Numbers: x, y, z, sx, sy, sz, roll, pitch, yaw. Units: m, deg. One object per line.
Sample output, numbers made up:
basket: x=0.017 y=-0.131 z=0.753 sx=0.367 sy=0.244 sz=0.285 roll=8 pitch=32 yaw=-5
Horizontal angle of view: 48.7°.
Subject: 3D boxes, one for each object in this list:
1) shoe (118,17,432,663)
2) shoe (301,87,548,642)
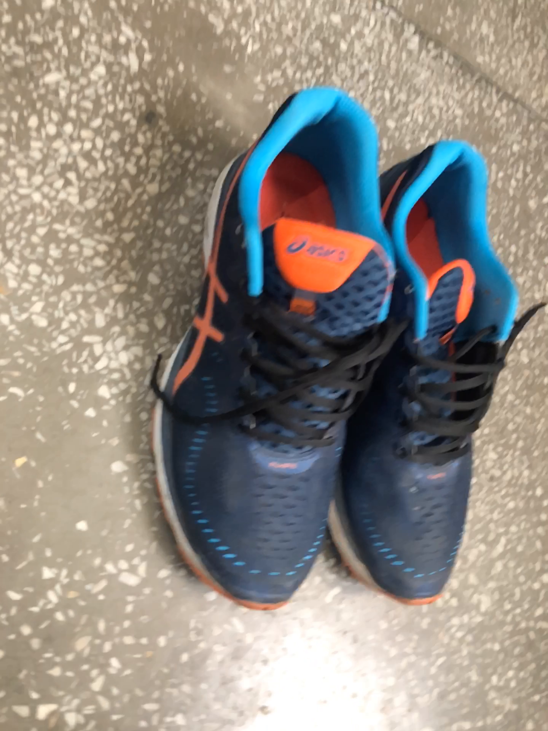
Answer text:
shoe: x=-0.002 y=-0.012 z=0.326 sx=0.118 sy=0.100 sz=0.288 roll=8 pitch=73 yaw=-25
shoe: x=0.096 y=0.001 z=0.374 sx=0.118 sy=0.100 sz=0.288 roll=6 pitch=74 yaw=-25
